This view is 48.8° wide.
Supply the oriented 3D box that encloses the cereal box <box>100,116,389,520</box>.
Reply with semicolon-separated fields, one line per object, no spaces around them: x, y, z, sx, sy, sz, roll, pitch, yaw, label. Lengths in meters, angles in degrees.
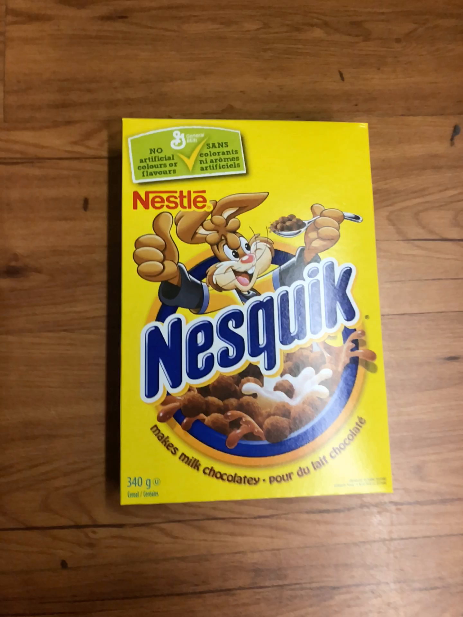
0.005;0.001;0.401;0.200;0.060;0.290;-2;83;-4;cereal box
